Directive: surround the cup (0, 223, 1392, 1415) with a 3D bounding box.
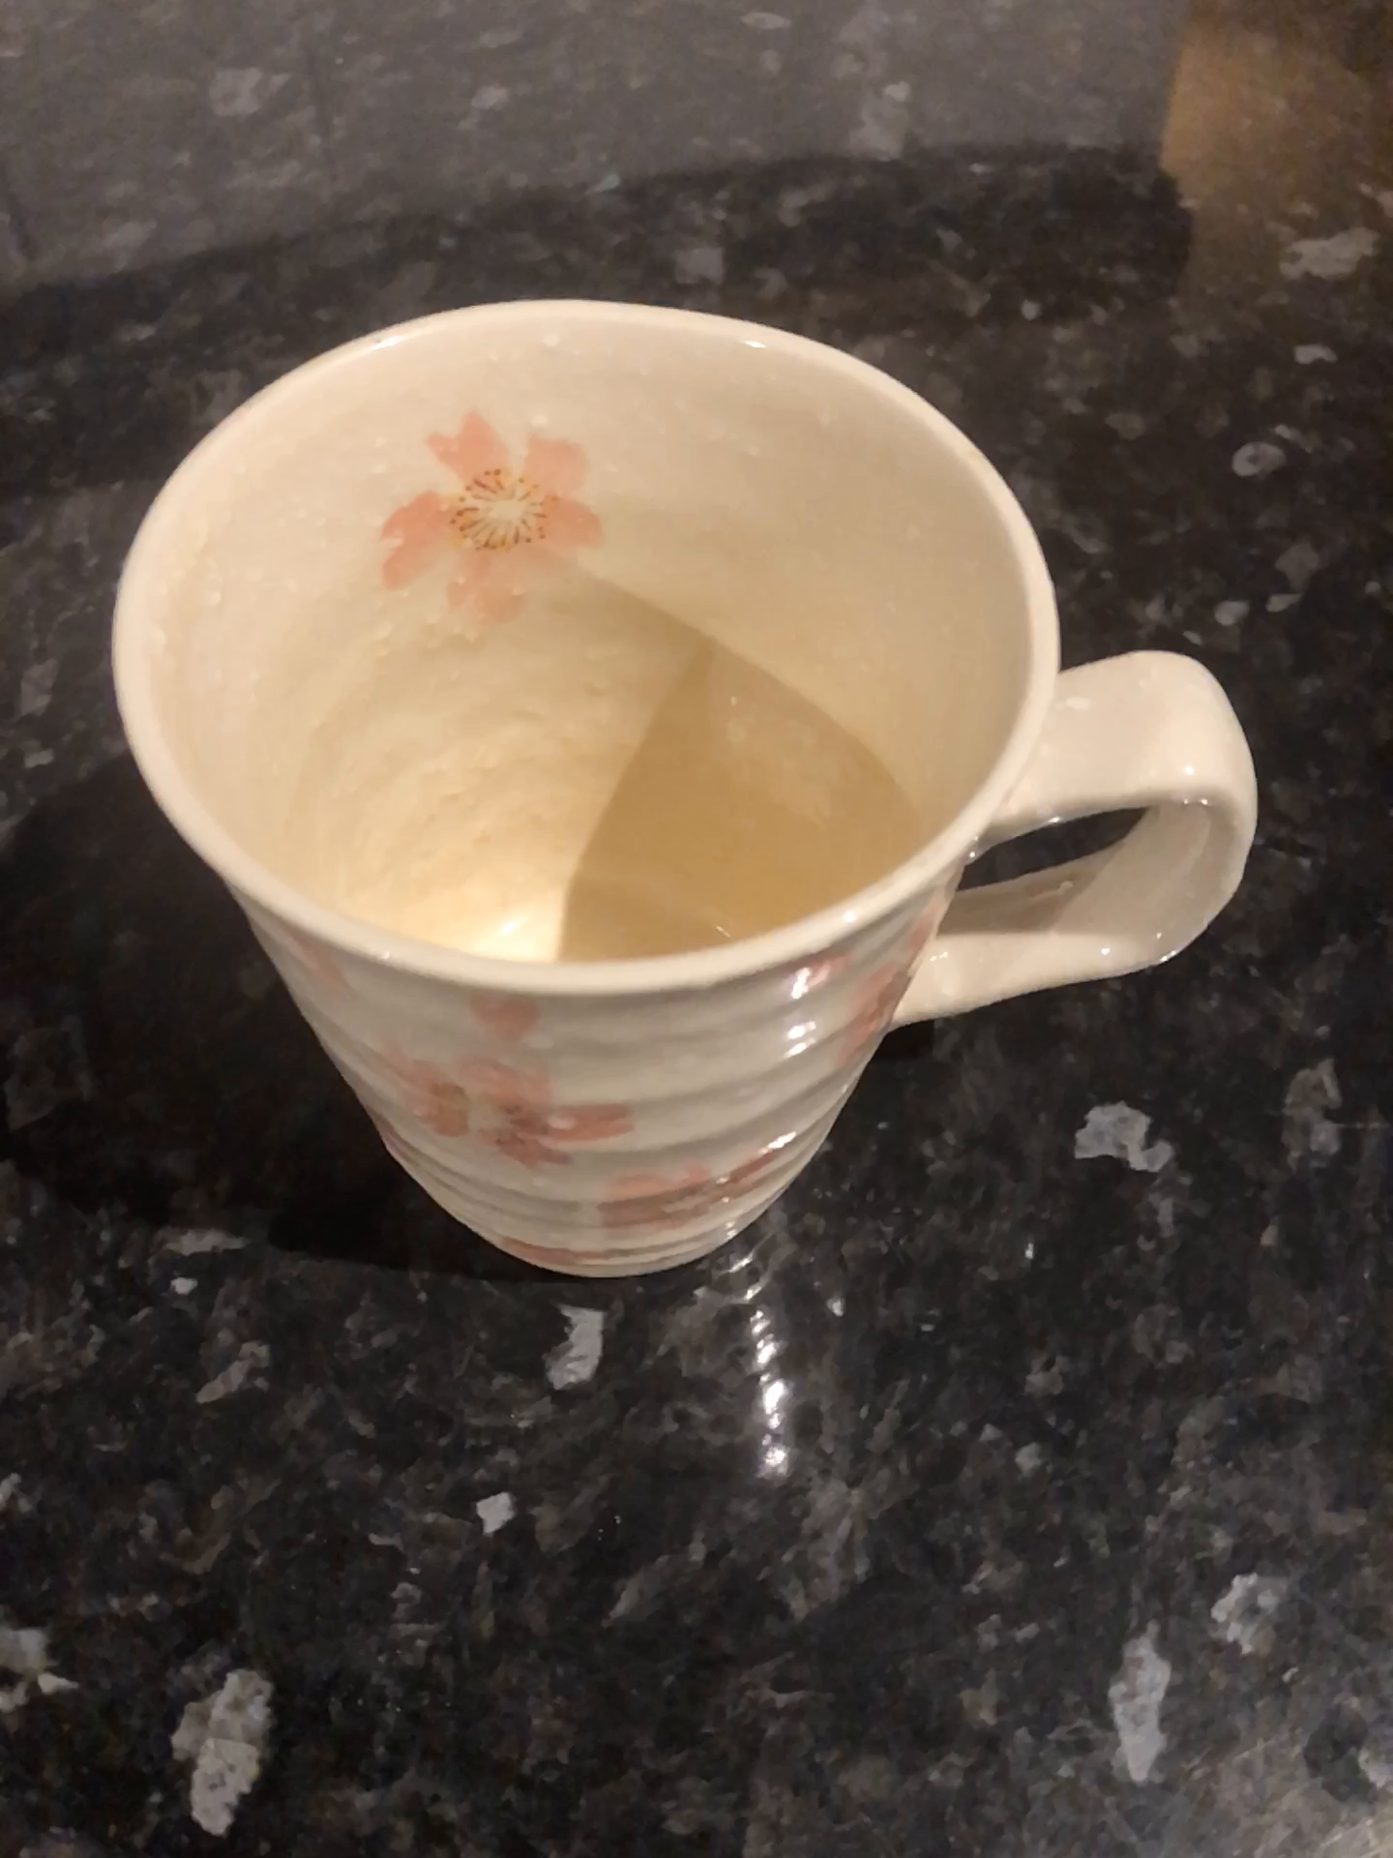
[{"bbox_3d":[0.009,-0.008,0.182,0.130,0.100,0.090,-4,57,-4],"label":"cup"}]
